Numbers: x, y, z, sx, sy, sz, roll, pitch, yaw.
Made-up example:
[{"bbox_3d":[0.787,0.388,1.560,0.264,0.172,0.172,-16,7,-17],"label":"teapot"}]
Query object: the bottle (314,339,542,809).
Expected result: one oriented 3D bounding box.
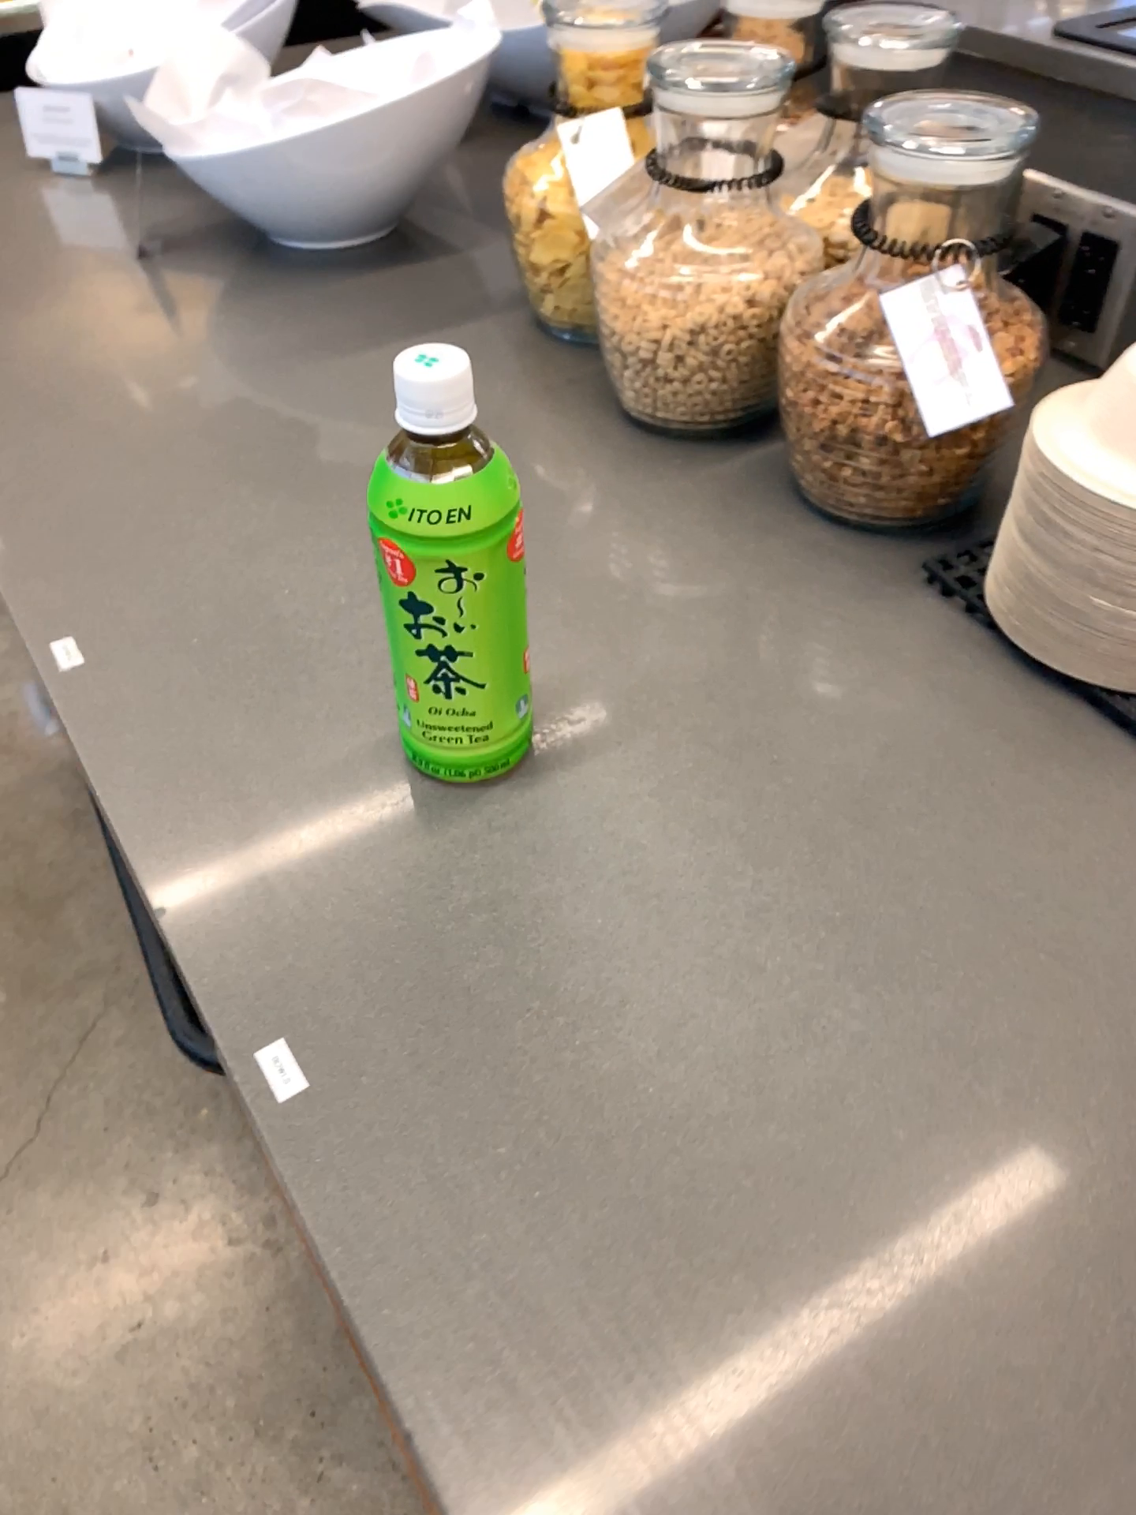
[{"bbox_3d":[-0.054,-0.074,0.525,0.070,0.199,0.070,-1,43,1],"label":"bottle"}]
